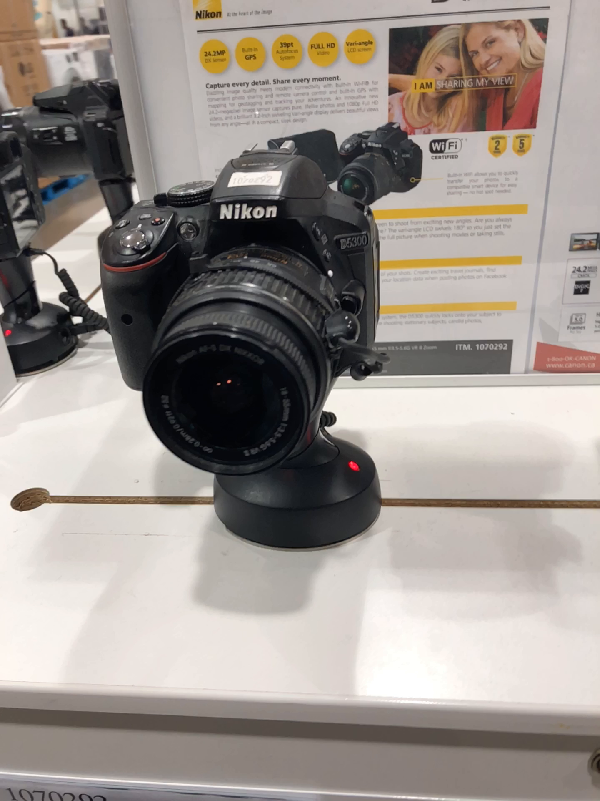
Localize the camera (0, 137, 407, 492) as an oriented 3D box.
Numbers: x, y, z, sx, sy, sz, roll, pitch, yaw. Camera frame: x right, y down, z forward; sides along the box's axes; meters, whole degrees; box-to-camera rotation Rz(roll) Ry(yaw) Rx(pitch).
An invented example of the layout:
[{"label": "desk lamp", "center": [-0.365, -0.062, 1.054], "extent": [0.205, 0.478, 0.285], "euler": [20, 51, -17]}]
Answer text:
[{"label": "camera", "center": [-0.029, -0.043, 0.267], "extent": [0.130, 0.090, 0.141], "euler": [-1, 29, 5]}]
